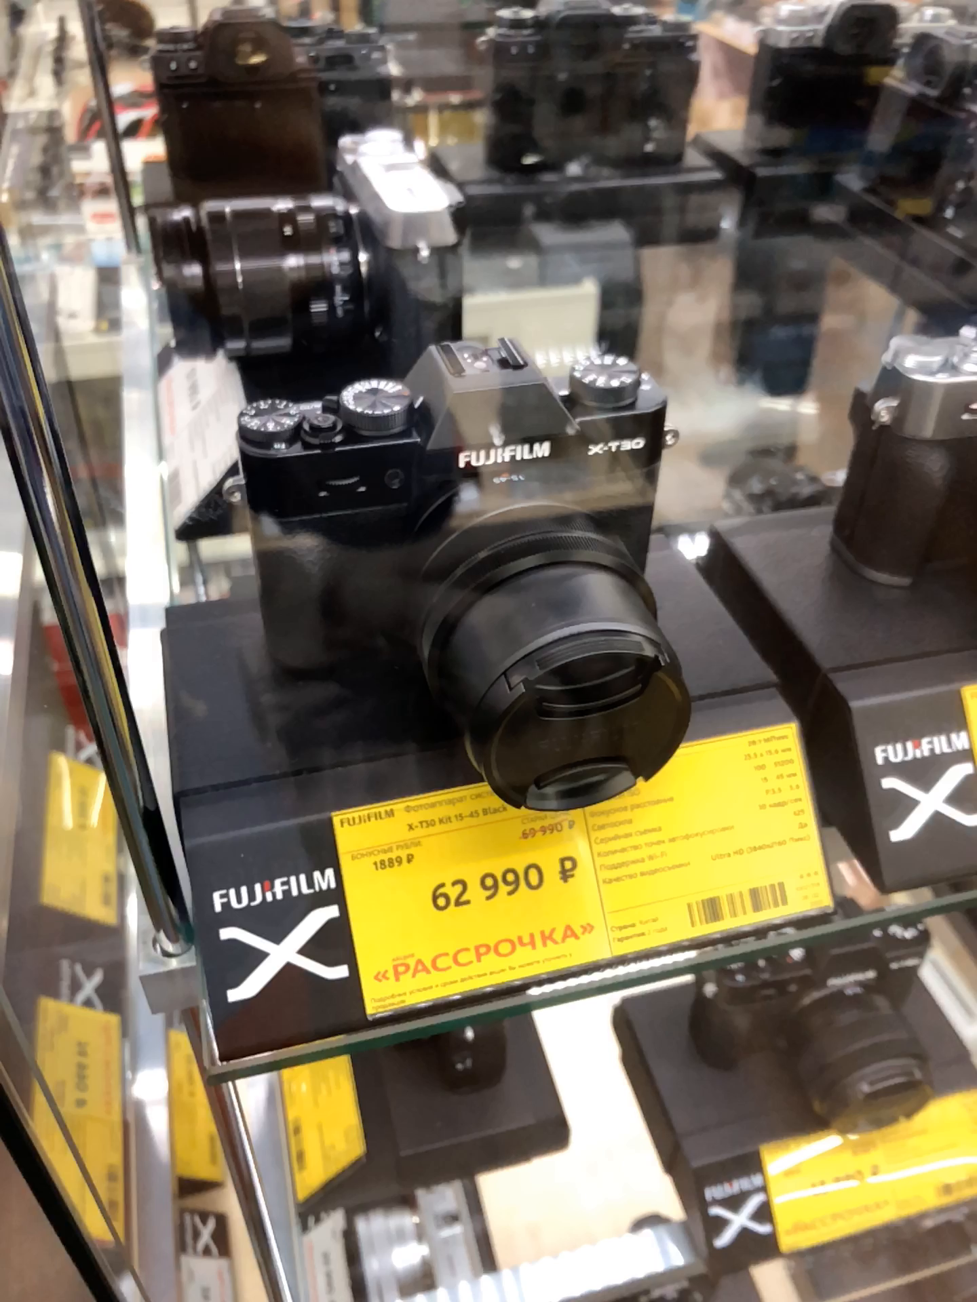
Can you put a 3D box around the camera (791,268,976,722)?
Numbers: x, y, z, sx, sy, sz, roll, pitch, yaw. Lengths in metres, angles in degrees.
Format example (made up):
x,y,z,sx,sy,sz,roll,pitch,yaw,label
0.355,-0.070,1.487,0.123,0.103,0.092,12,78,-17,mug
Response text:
x,y,z,sx,sy,sz,roll,pitch,yaw,label
0.174,-0.052,0.327,0.114,0.078,0.109,-8,40,-11,camera

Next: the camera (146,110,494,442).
x,y,z,sx,sy,sz,roll,pitch,yaw,label
-0.072,-0.162,0.458,0.120,0.089,0.114,-9,40,-13,camera

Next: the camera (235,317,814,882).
x,y,z,sx,sy,sz,roll,pitch,yaw,label
0.001,-0.021,0.297,0.114,0.089,0.111,-10,41,-14,camera
